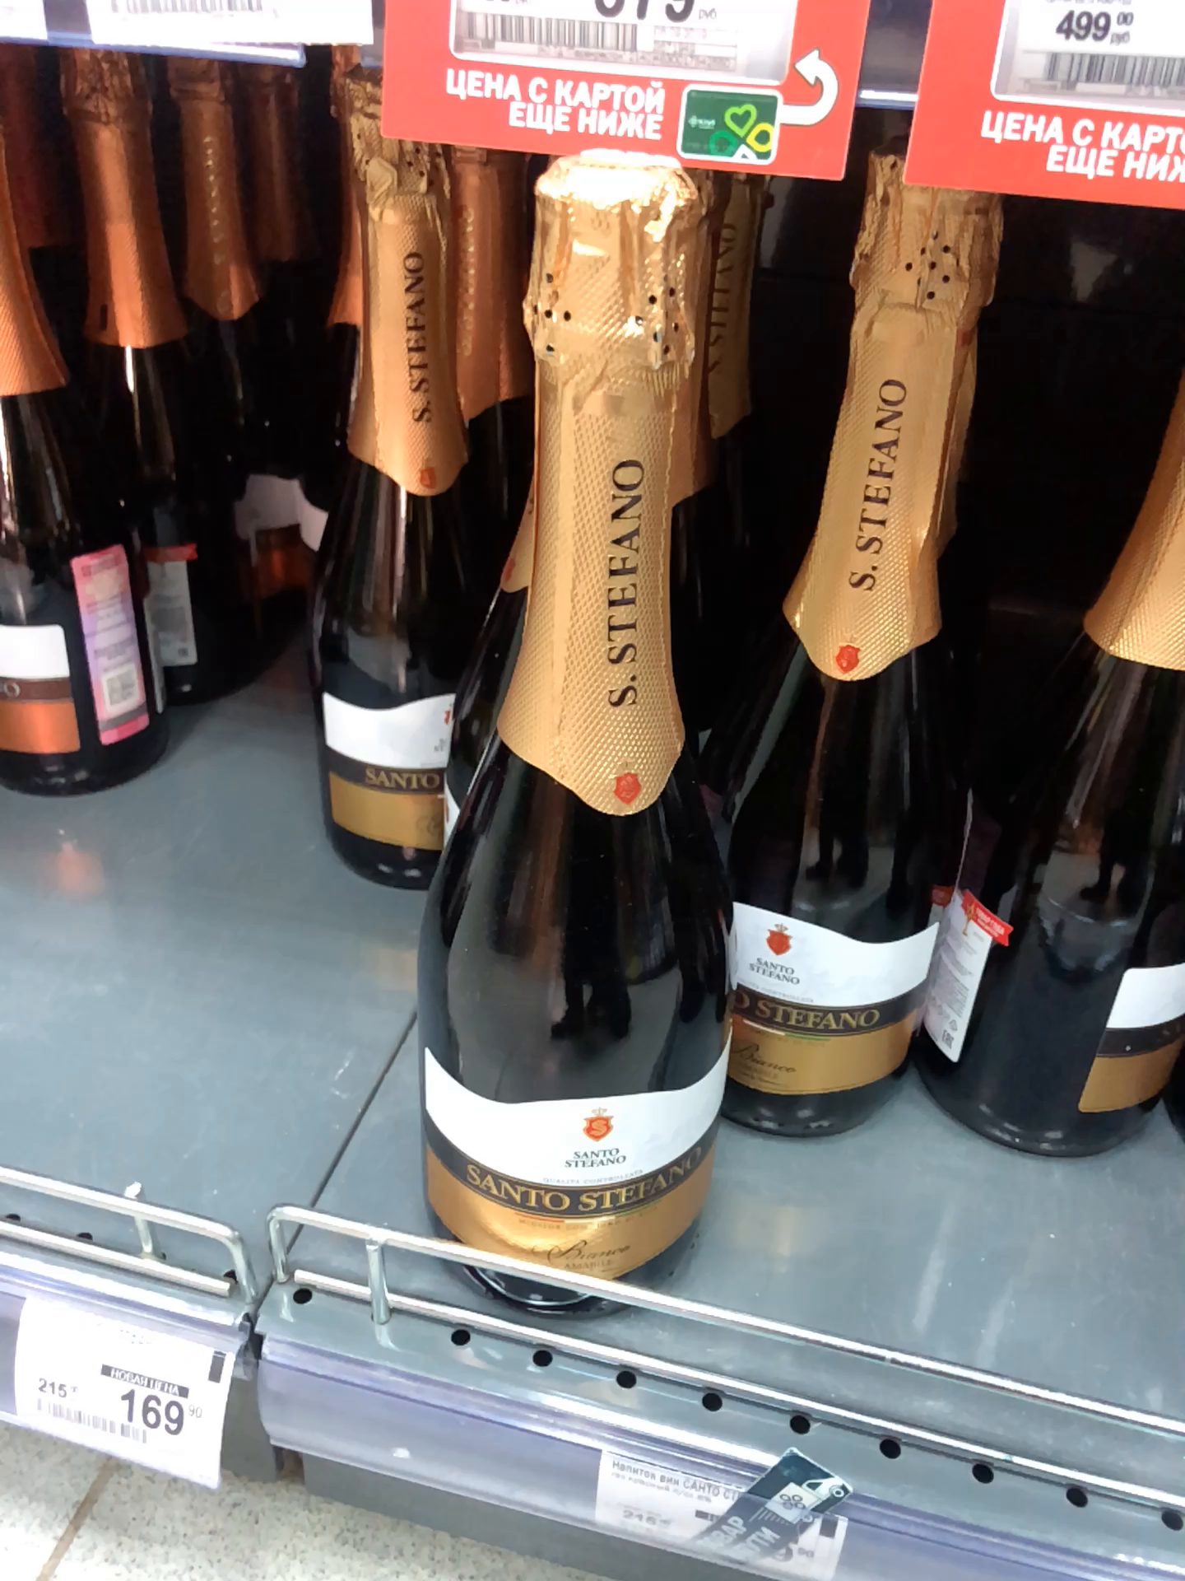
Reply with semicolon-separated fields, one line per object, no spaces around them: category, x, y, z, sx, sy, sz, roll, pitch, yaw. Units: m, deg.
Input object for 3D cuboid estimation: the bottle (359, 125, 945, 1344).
bottle;-0.003;0.002;0.337;0.100;0.298;0.091;-3;32;-10
